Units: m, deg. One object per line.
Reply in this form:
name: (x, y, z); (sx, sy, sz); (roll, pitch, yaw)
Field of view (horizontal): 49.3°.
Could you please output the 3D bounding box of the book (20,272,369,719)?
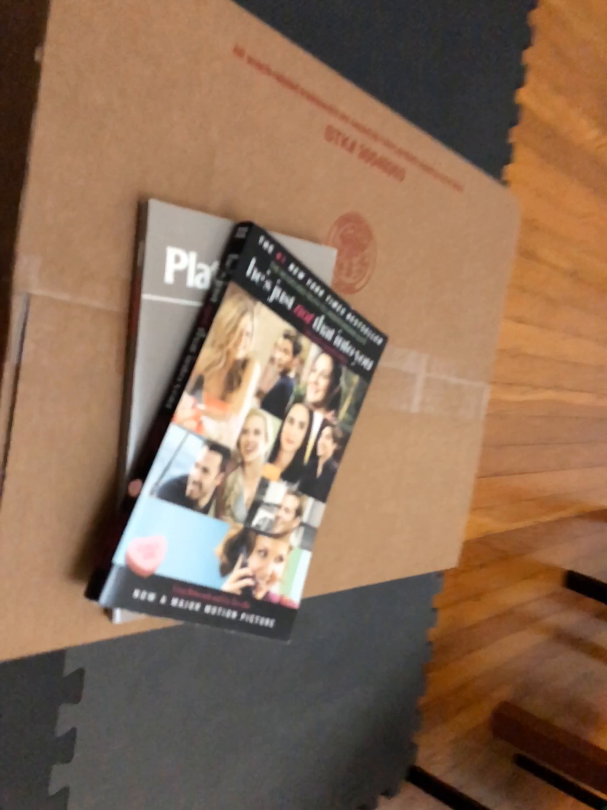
book: (-0.045, 0.063, 0.383); (0.150, 0.010, 0.230); (31, 76, -45)
